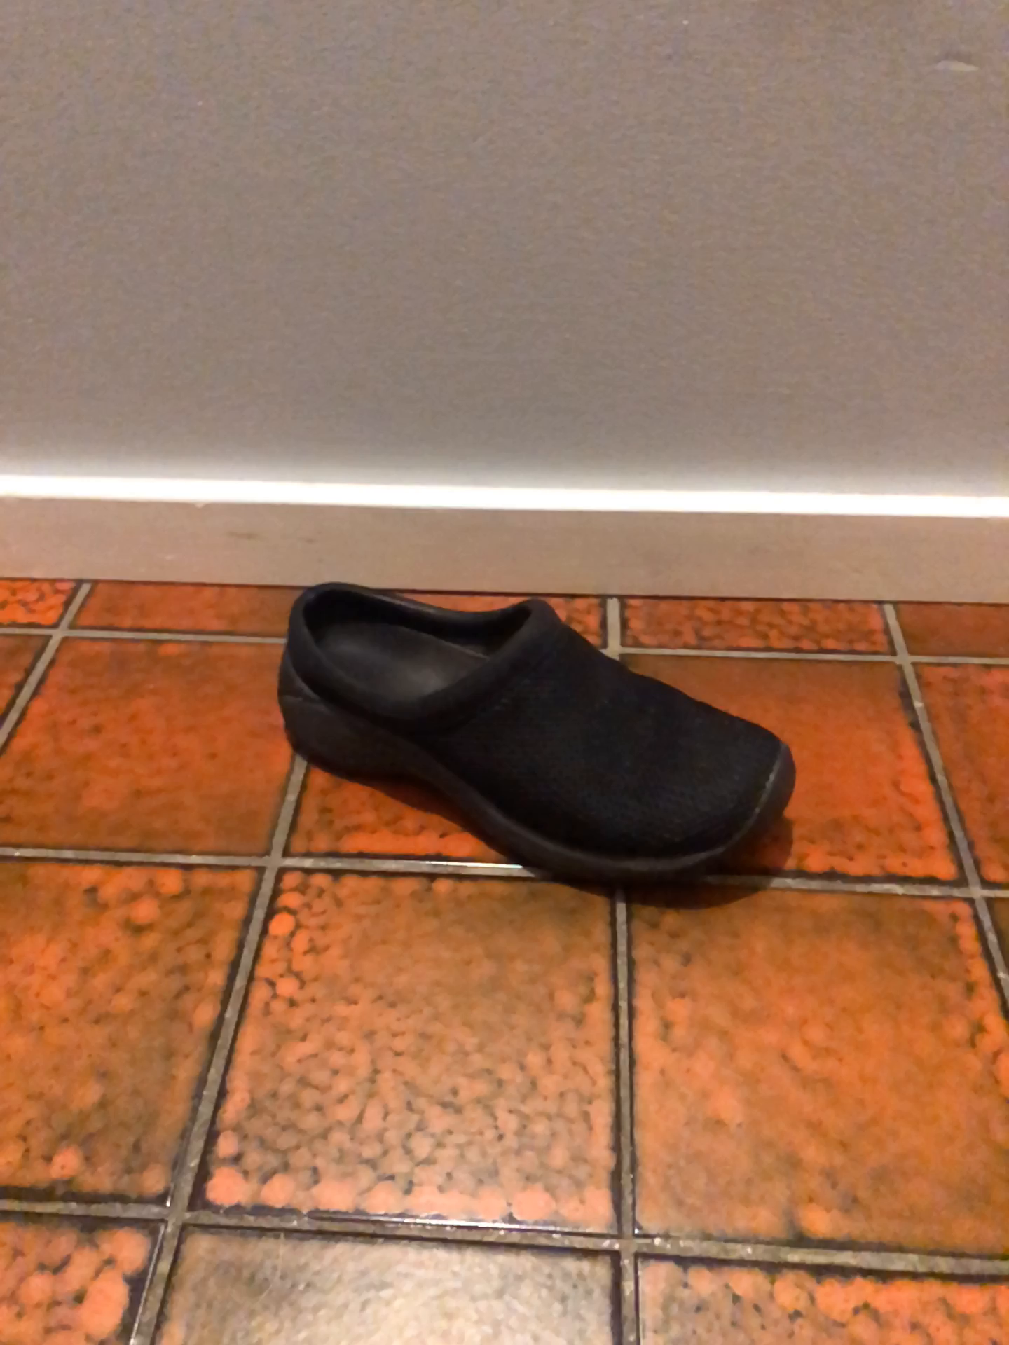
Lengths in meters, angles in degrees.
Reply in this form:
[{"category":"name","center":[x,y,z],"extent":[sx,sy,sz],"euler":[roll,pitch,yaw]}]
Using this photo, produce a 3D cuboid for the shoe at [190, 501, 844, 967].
[{"category":"shoe","center":[0.002,0.016,0.484],"extent":[0.250,0.080,0.100],"euler":[20,45,21]}]
